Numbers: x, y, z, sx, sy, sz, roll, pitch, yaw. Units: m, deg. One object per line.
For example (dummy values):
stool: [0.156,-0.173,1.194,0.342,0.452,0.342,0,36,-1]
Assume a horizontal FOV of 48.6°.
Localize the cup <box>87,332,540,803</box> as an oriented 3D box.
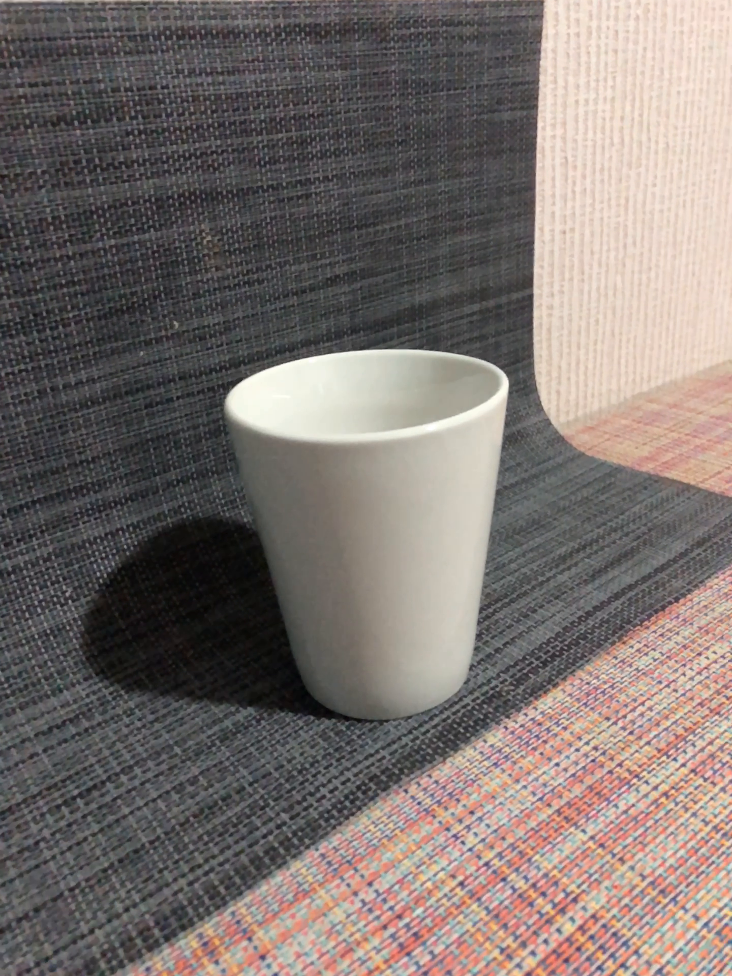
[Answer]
cup: [-0.003,0.012,0.258,0.096,0.096,0.112,5,26,21]
